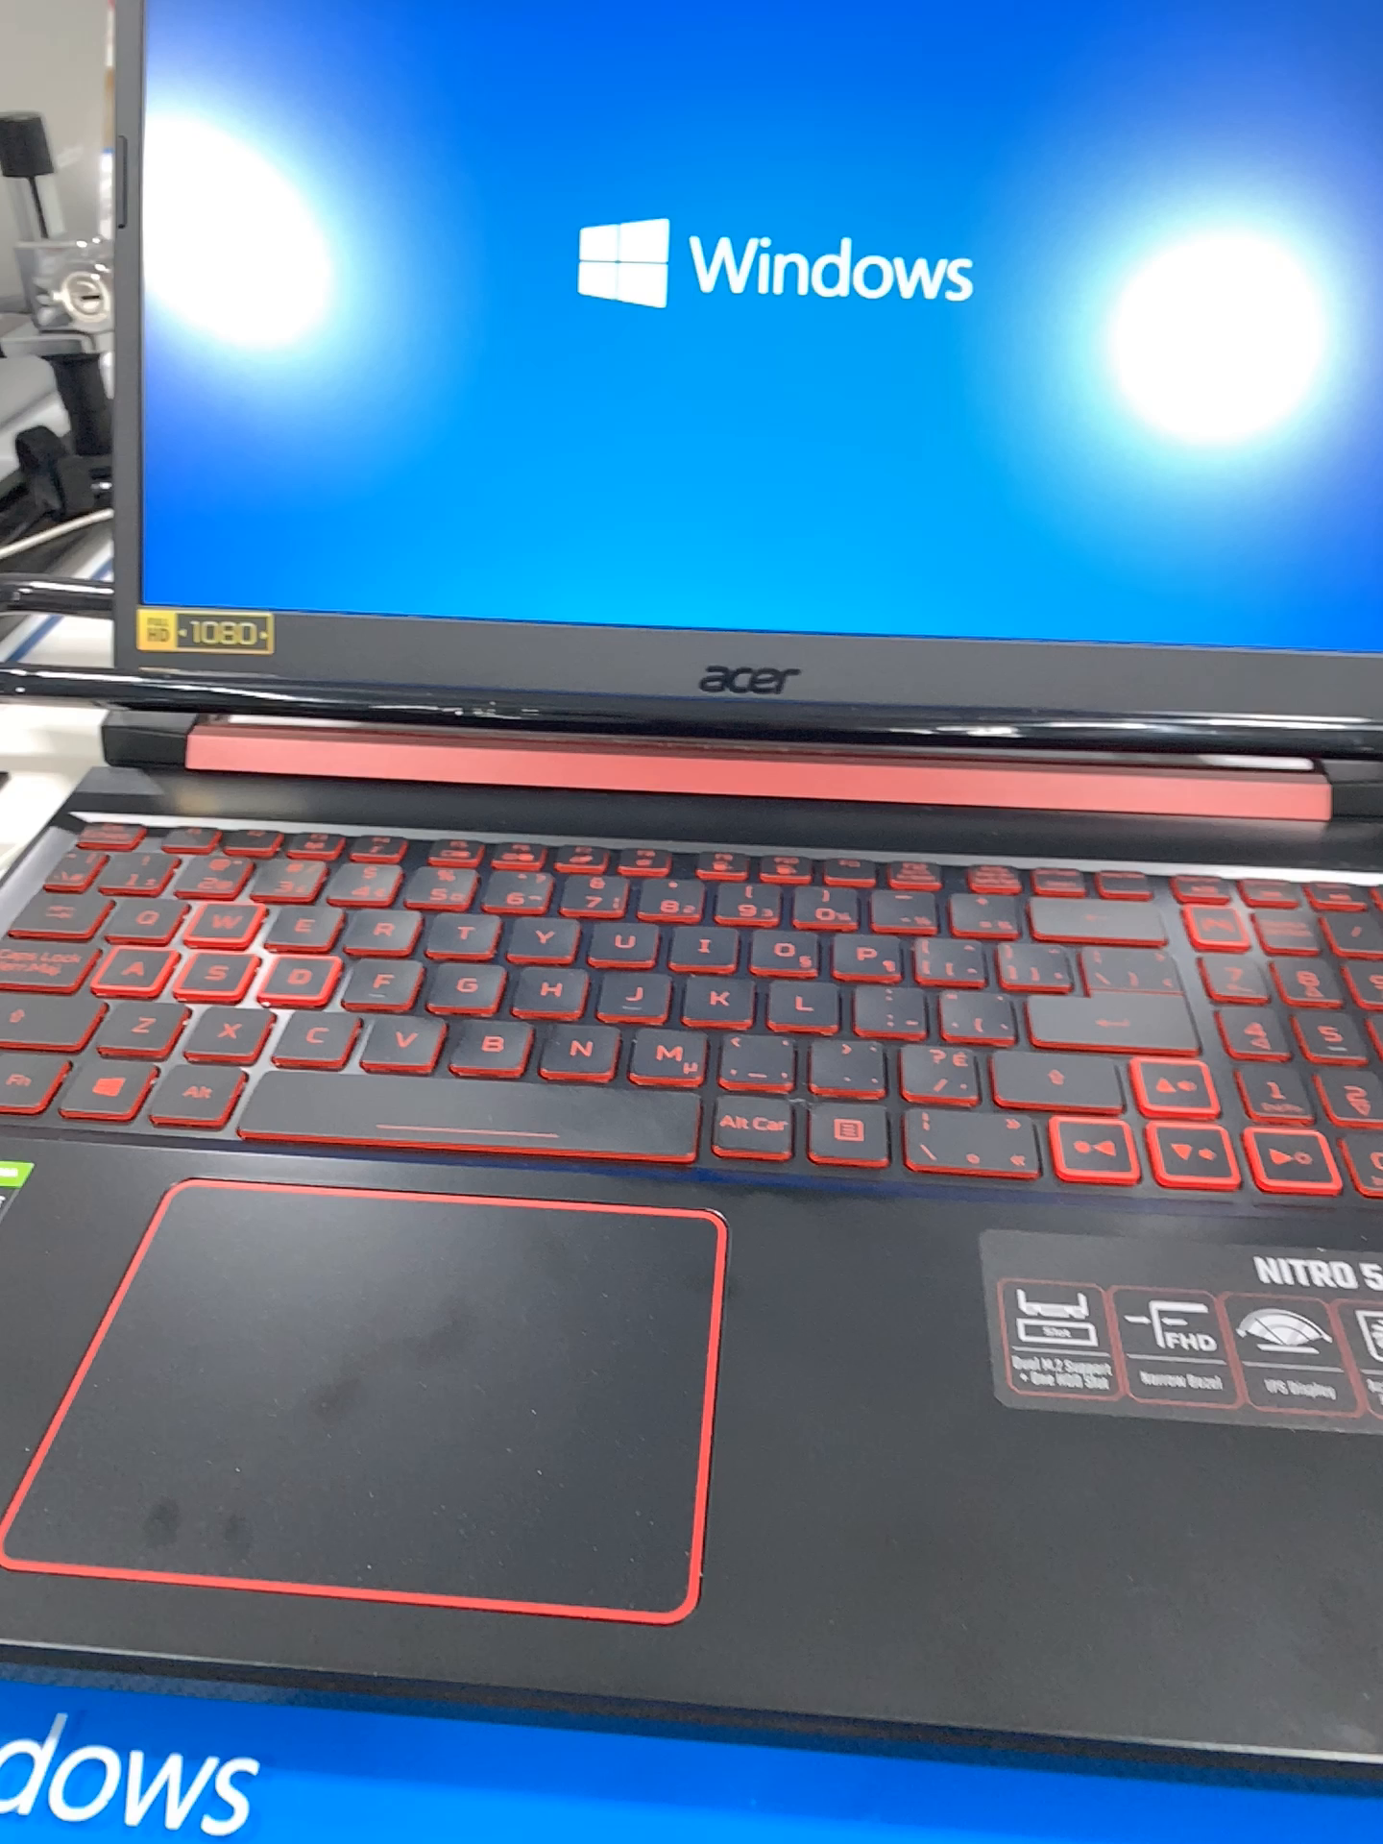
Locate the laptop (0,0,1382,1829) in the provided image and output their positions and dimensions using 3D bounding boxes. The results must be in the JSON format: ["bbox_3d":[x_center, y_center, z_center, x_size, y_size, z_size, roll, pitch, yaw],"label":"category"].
[{"bbox_3d":[0.004,-0.096,0.292,0.358,0.198,0.381,3,38,4],"label":"laptop"}]
